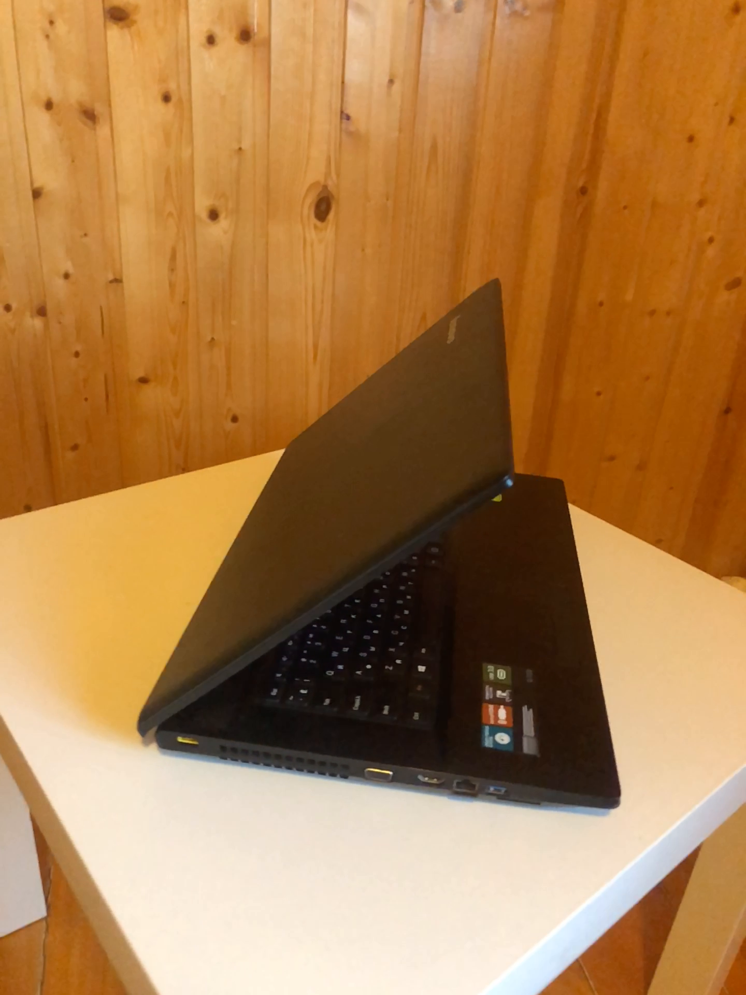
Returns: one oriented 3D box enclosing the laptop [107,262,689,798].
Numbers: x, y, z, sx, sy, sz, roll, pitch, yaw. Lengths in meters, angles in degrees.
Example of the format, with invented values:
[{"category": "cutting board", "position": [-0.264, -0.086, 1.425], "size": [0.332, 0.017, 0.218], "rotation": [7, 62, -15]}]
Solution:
[{"category": "laptop", "position": [0.029, -0.026, 0.602], "size": [0.271, 0.184, 0.413], "rotation": [7, 27, 5]}]
